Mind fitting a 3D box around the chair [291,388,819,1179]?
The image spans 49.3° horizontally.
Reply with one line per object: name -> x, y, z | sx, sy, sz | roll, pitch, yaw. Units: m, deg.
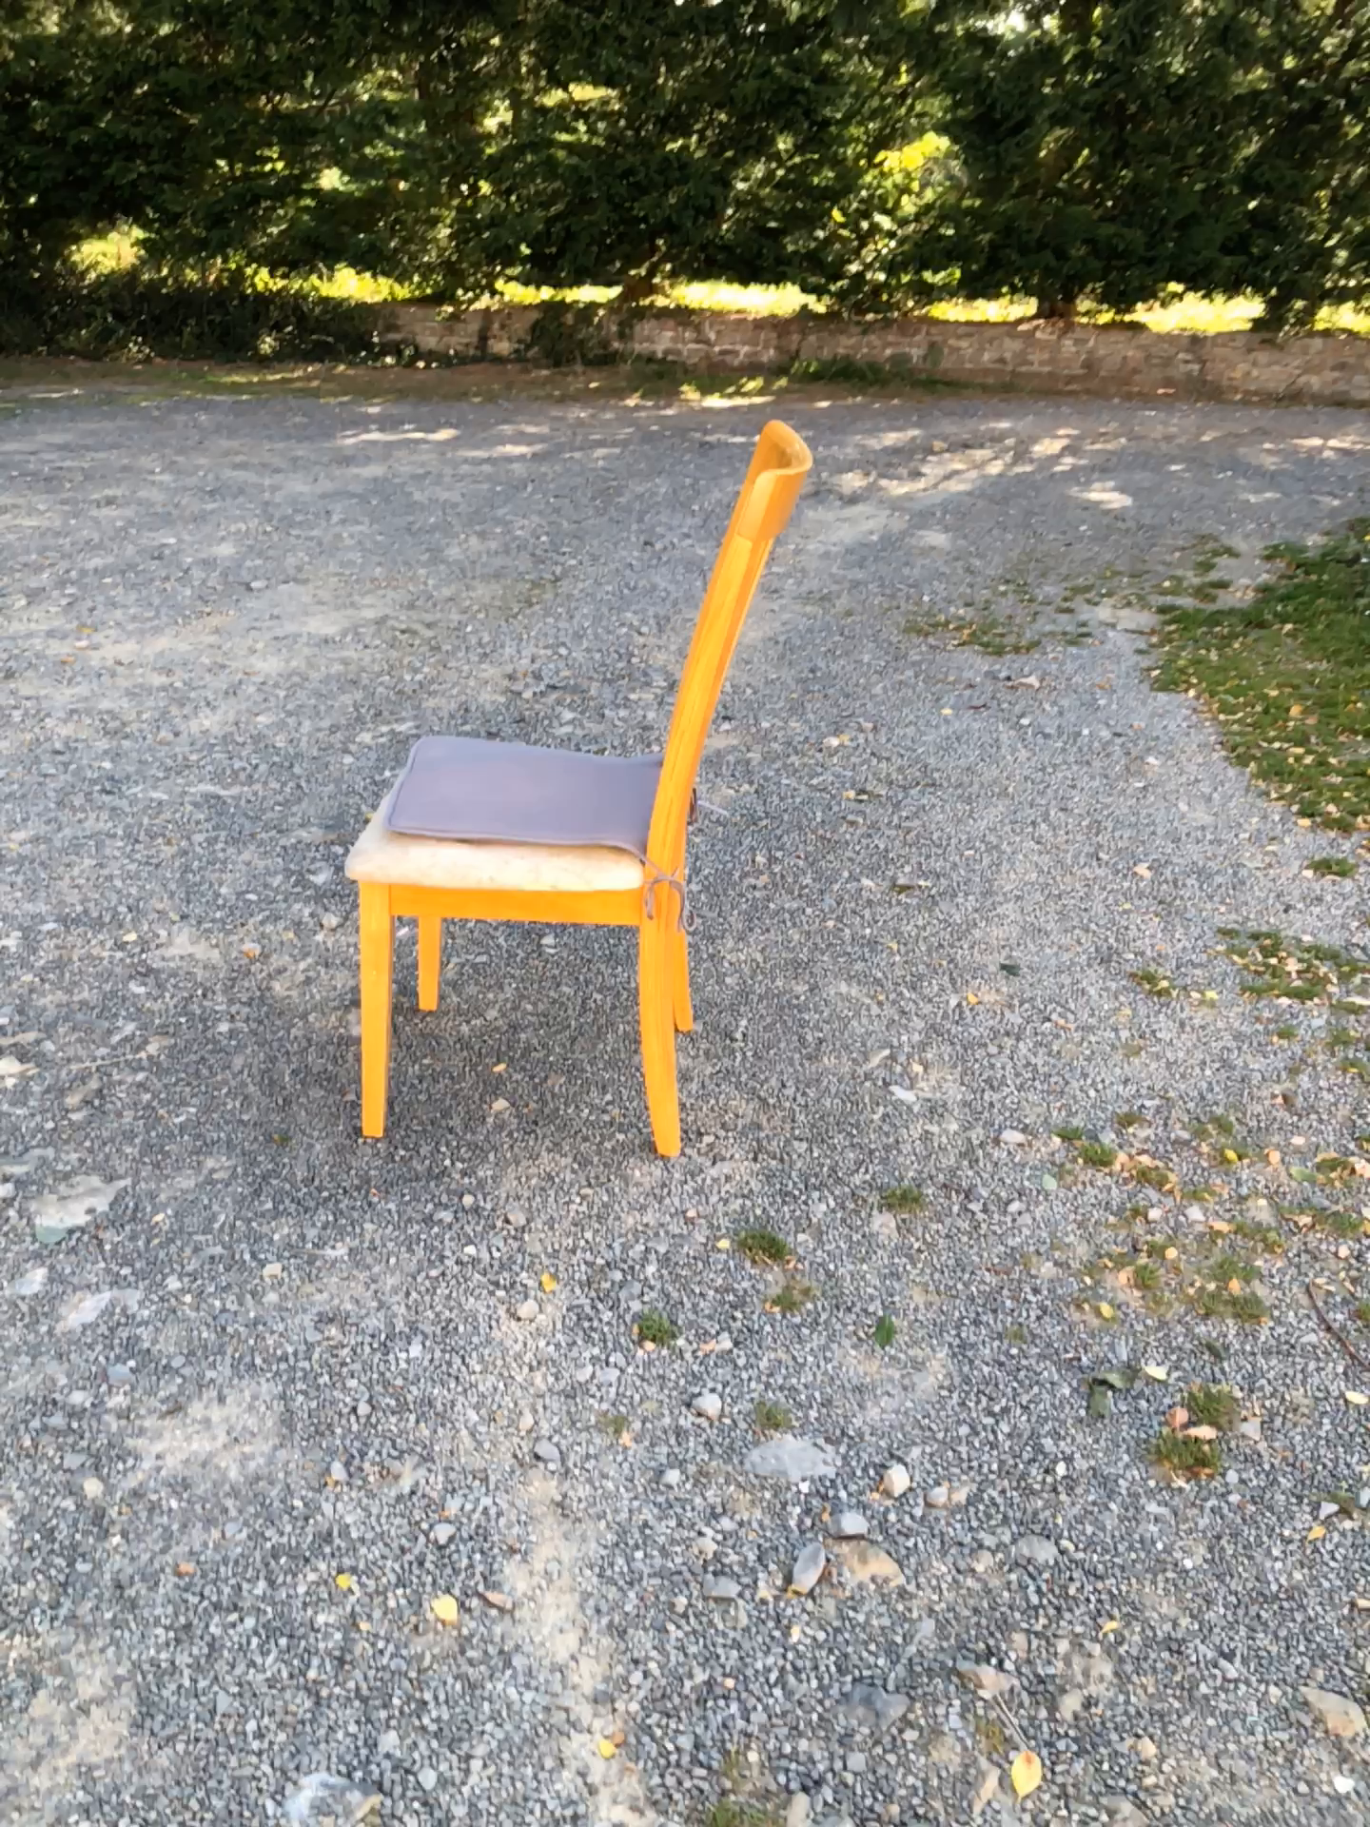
chair -> -0.164, -0.190, 2.174 | 0.610, 0.994, 0.513 | 3, 27, 0
